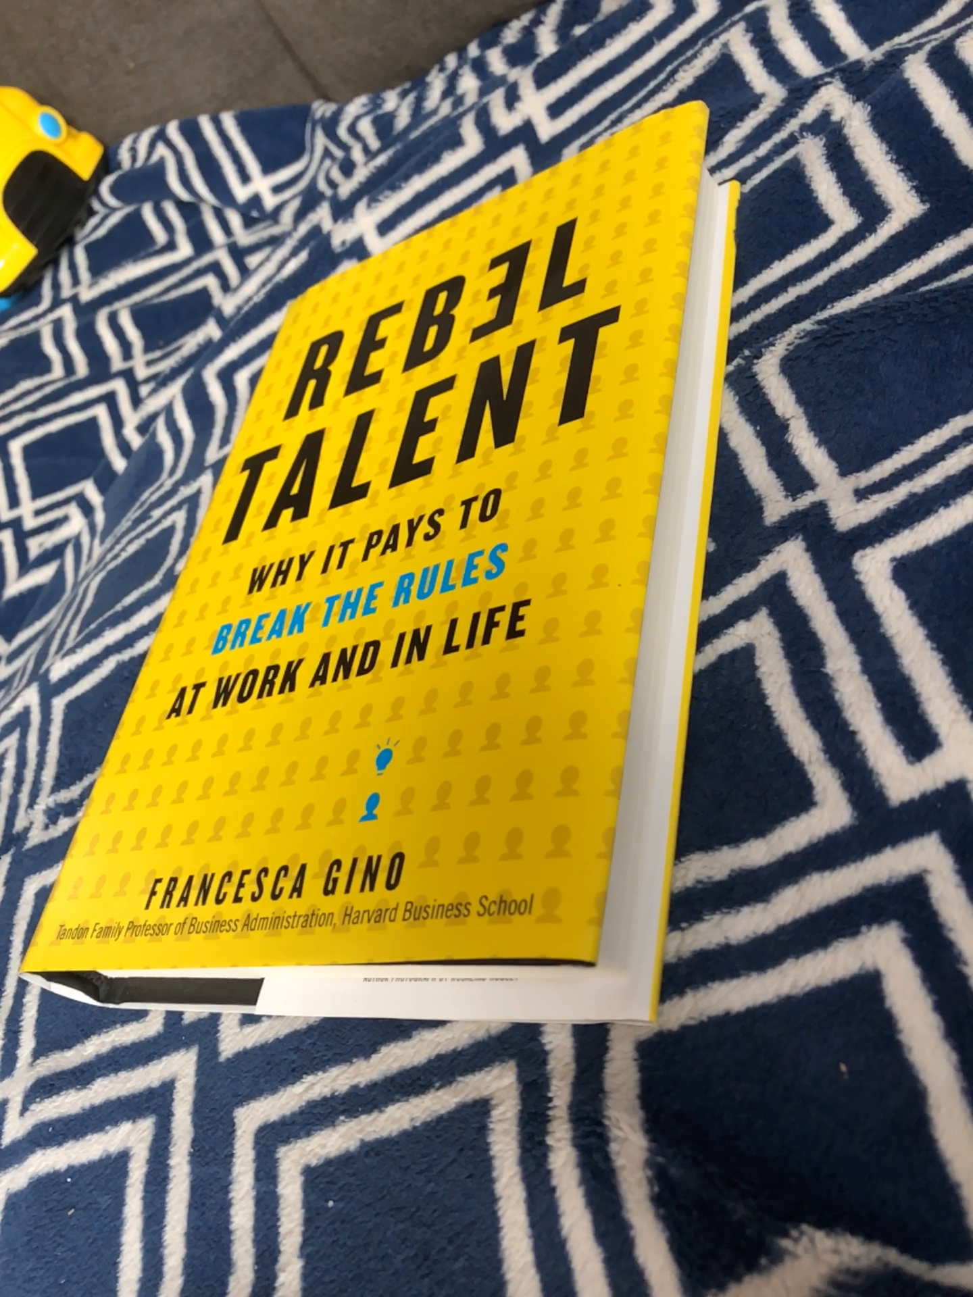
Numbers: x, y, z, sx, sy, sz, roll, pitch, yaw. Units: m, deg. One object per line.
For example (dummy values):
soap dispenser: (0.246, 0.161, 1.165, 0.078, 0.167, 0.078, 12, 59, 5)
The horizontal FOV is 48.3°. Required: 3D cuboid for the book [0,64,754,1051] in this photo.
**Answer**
book: (-0.025, -0.029, 0.270, 0.167, 0.032, 0.237, -12, 50, 33)
